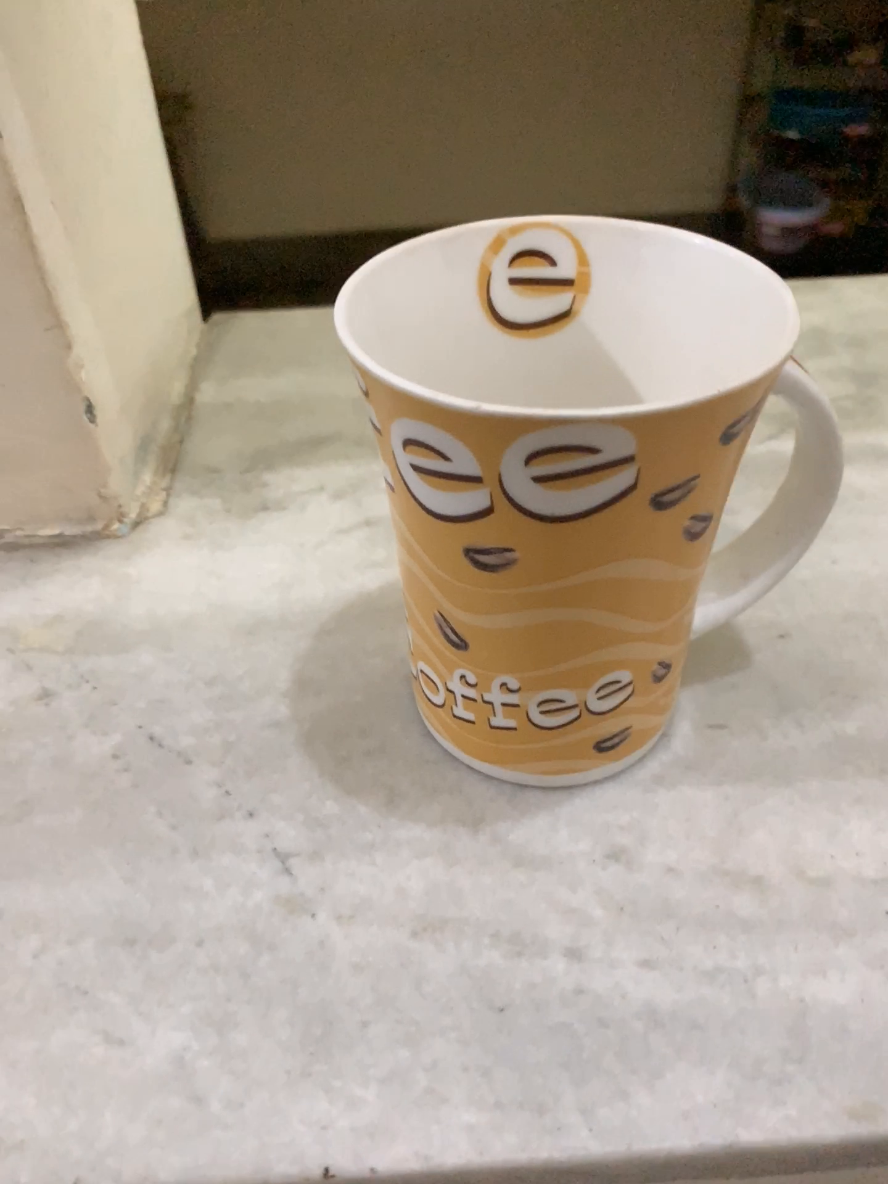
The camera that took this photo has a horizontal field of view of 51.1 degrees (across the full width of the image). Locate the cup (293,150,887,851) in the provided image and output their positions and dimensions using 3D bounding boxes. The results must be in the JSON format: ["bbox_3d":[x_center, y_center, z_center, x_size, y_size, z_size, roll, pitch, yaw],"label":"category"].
[{"bbox_3d":[0.030,-0.020,0.188,0.100,0.100,0.080,-10,41,-8],"label":"cup"}]
